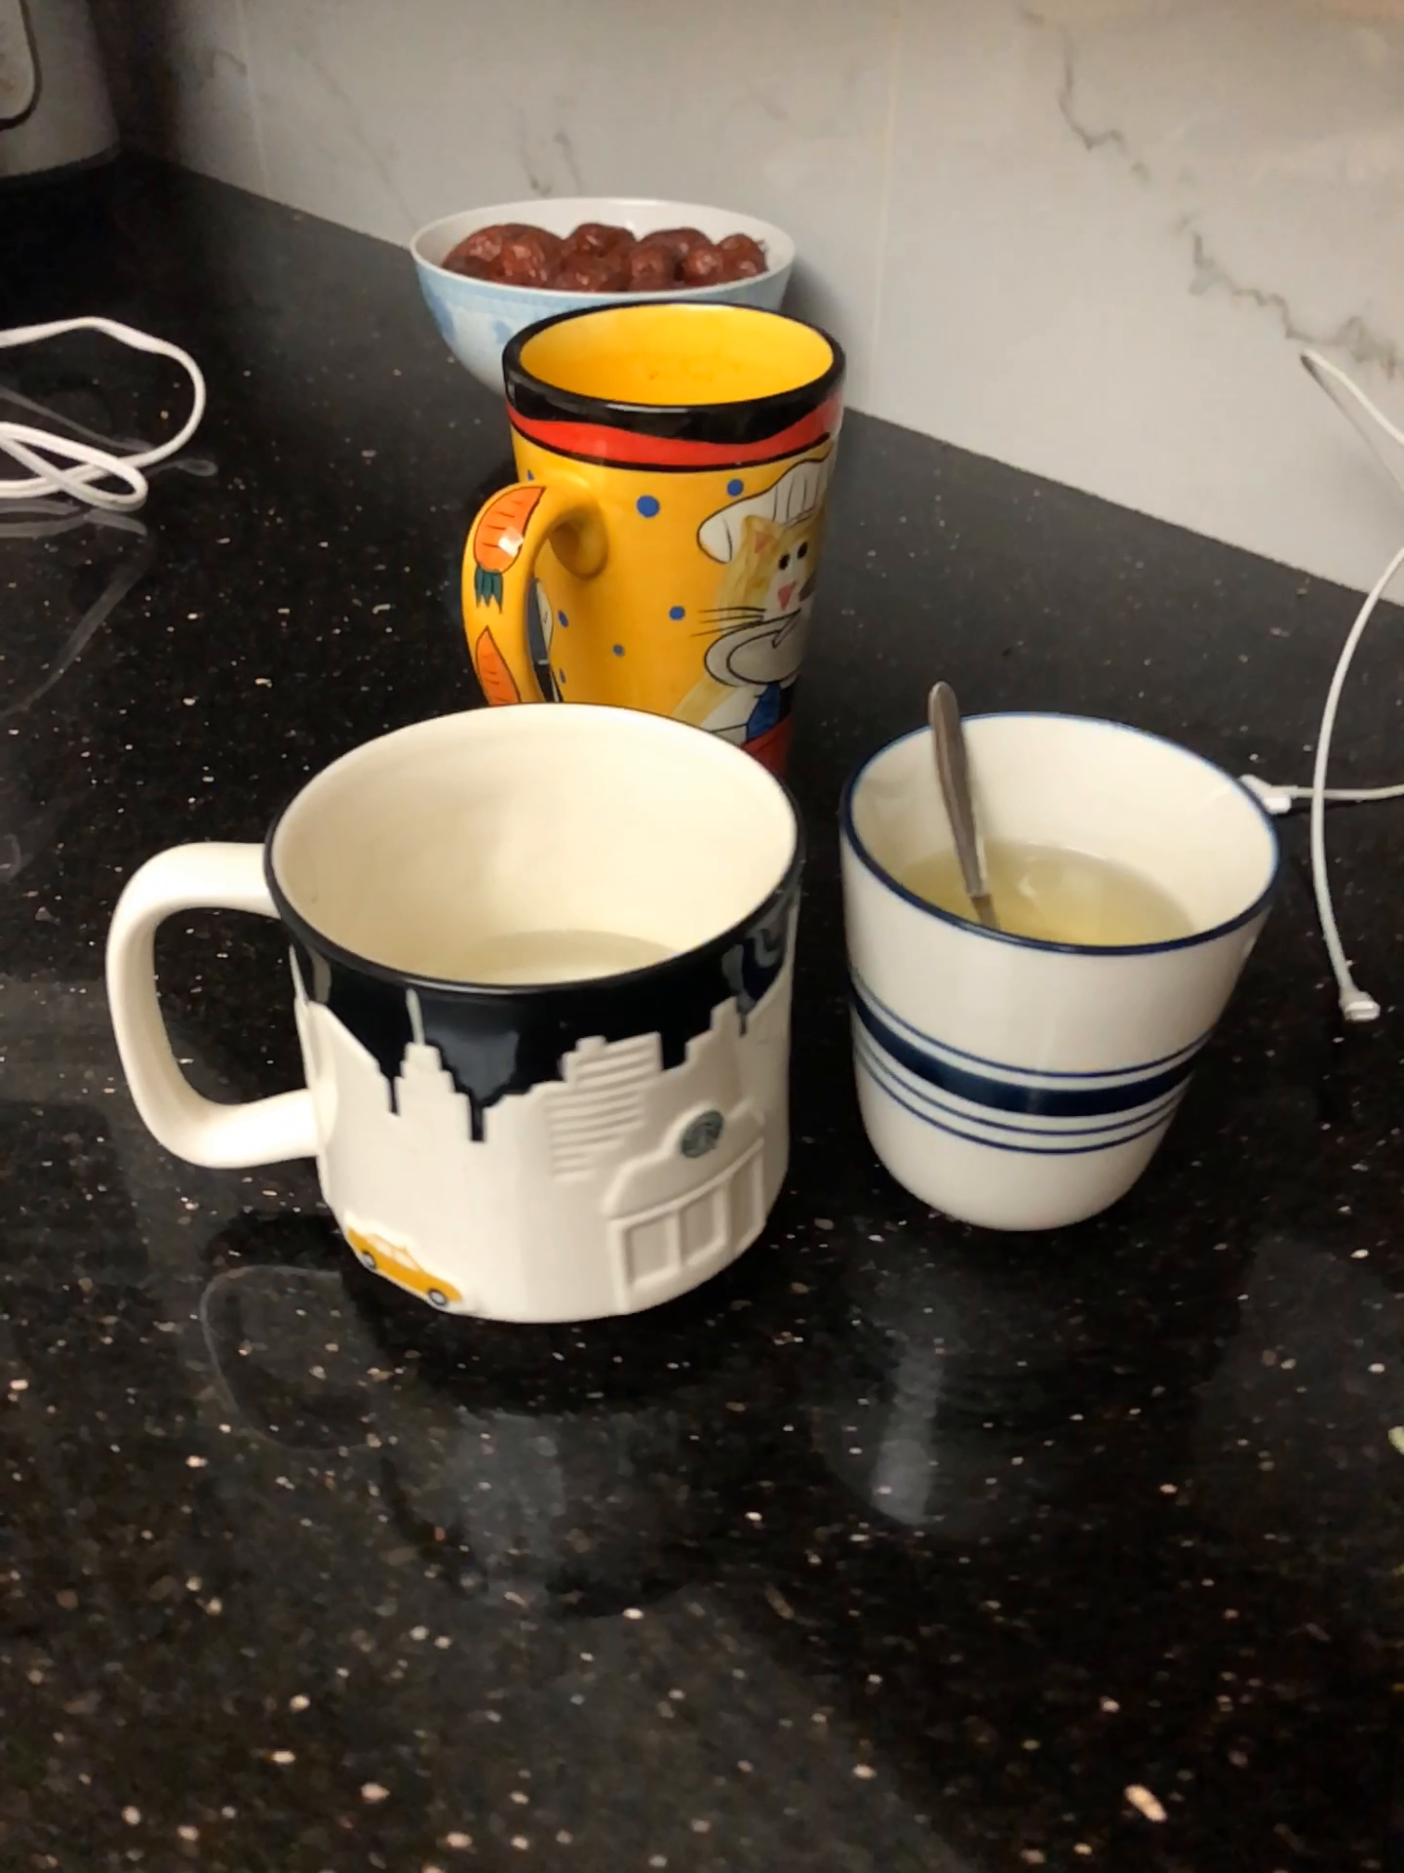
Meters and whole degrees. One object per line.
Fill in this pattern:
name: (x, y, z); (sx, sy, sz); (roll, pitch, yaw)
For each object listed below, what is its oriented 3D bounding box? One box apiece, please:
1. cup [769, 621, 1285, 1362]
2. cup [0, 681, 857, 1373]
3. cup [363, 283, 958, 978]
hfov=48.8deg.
cup: (0.071, 0.005, 0.332); (0.080, 0.089, 0.121); (12, 39, 14)
cup: (-0.049, 0.015, 0.325); (0.150, 0.089, 0.111); (2, 38, 1)
cup: (-0.008, -0.087, 0.416); (0.090, 0.129, 0.120); (25, 44, 28)
